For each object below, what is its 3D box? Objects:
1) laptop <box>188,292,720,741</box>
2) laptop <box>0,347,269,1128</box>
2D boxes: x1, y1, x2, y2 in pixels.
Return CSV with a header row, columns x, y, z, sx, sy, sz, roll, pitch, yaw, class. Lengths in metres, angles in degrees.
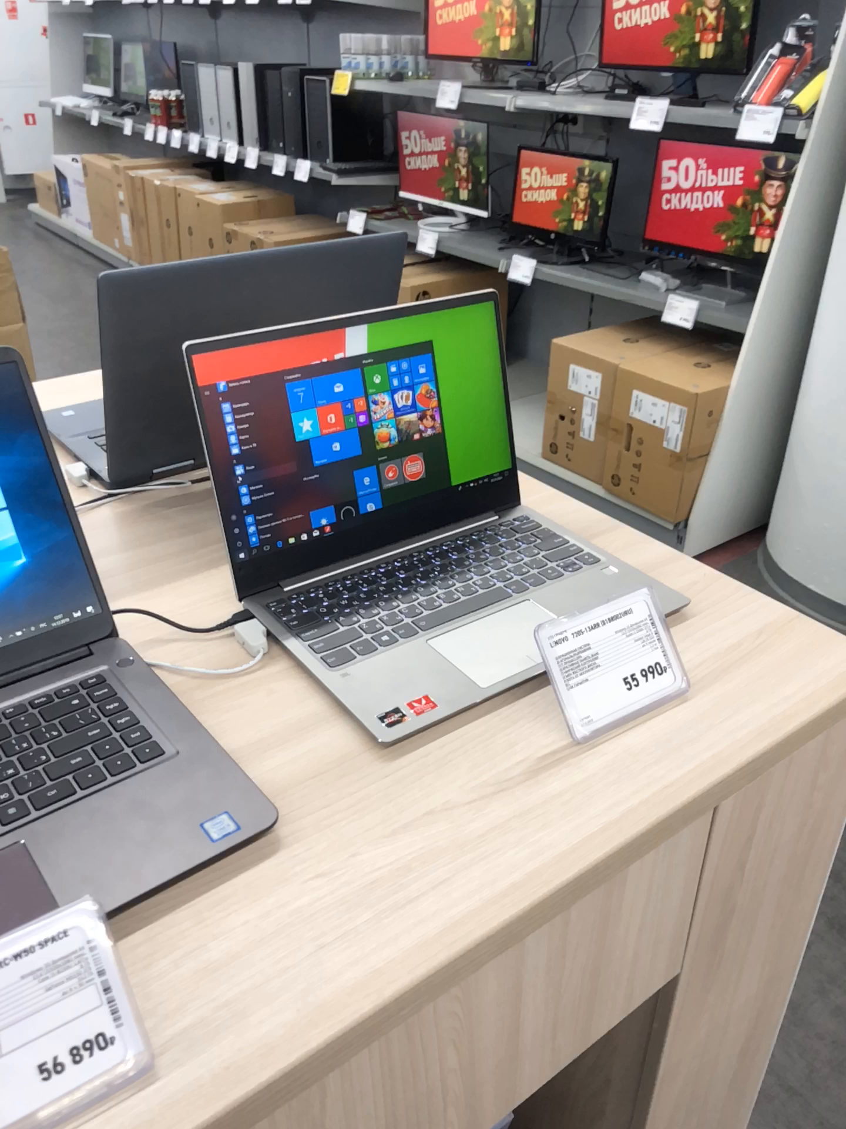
x,y,z,sx,sy,sz,roll,pitch,yaw,class
0.017,-0.065,0.715,0.286,0.187,0.262,-20,36,-31,laptop
-0.327,0.049,0.502,0.345,0.188,0.340,-21,37,-33,laptop
